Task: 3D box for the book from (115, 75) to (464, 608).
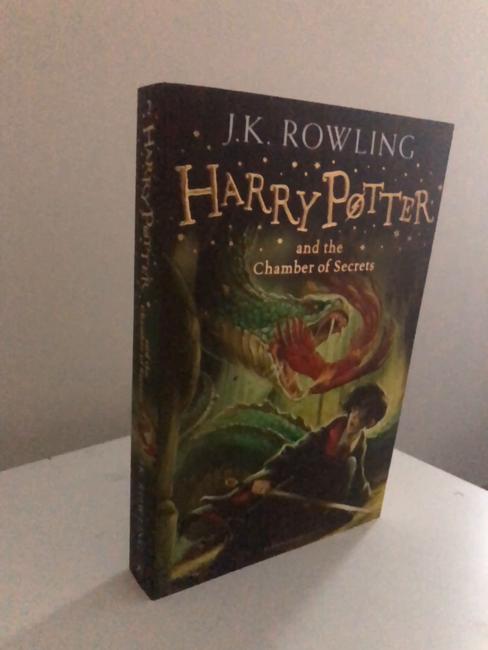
[{"bbox_3d":[0.016,0.008,0.233,0.130,0.190,0.039,-6,20,-31],"label":"book"}]
